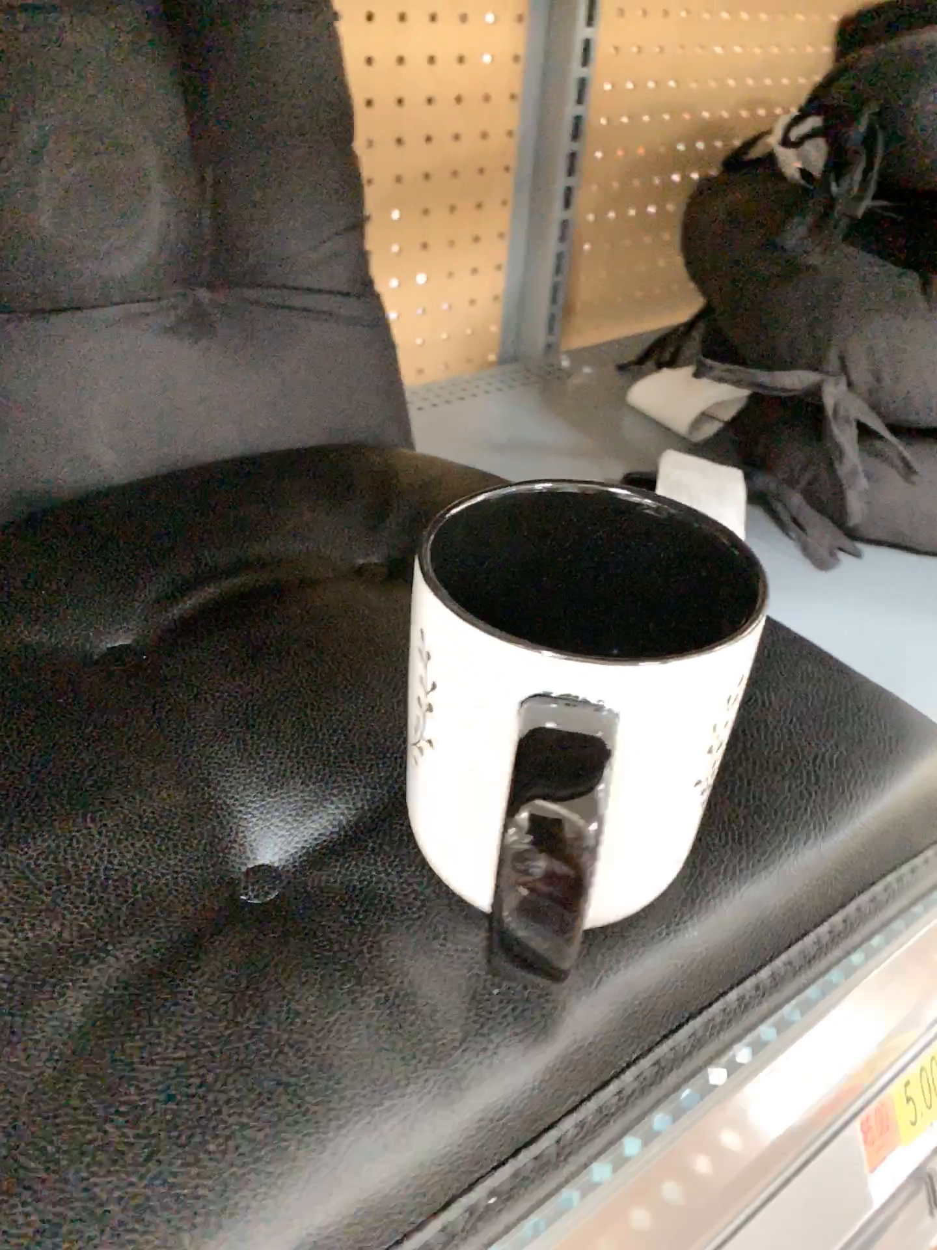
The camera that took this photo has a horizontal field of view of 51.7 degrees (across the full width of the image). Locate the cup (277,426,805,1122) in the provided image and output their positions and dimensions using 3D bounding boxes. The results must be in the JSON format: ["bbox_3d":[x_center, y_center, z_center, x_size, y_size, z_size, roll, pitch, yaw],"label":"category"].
[{"bbox_3d":[0.028,0.029,0.268,0.101,0.104,0.142,10,37,11],"label":"cup"}]
